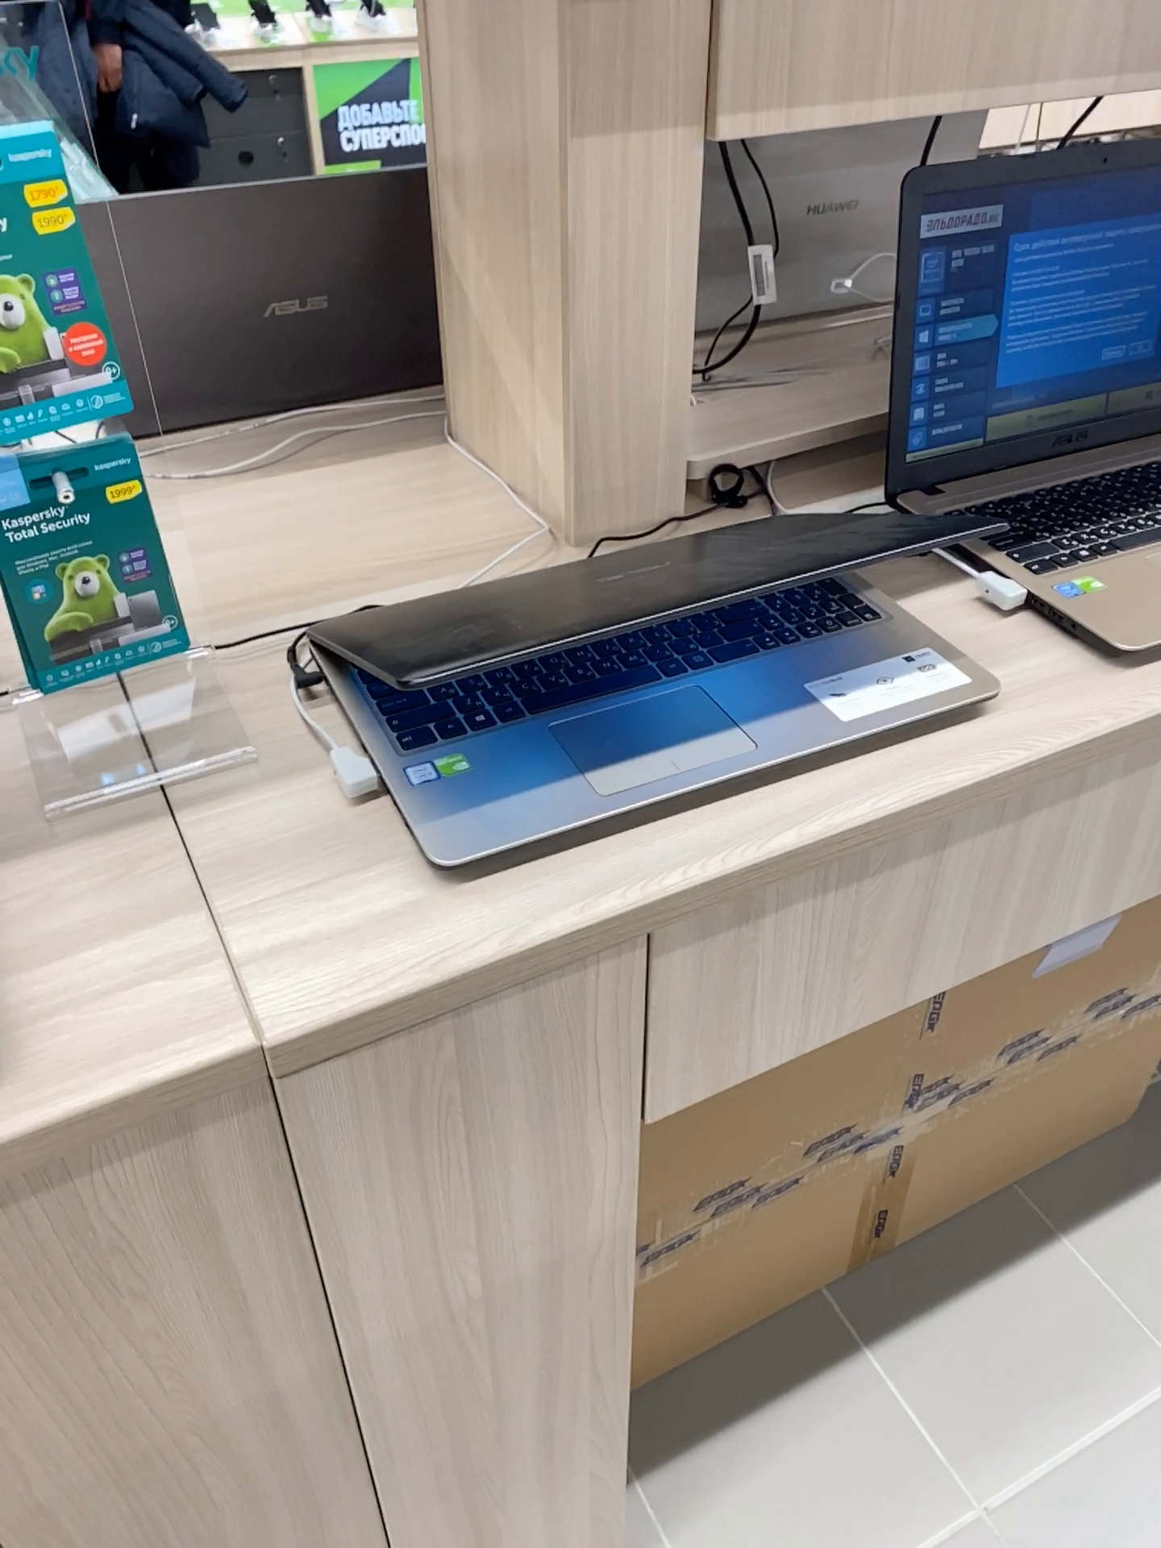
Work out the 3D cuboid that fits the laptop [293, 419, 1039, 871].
[{"bbox_3d":[0.046,-0.104,0.741,0.382,0.094,0.241,-16,41,-21],"label":"laptop"}]
